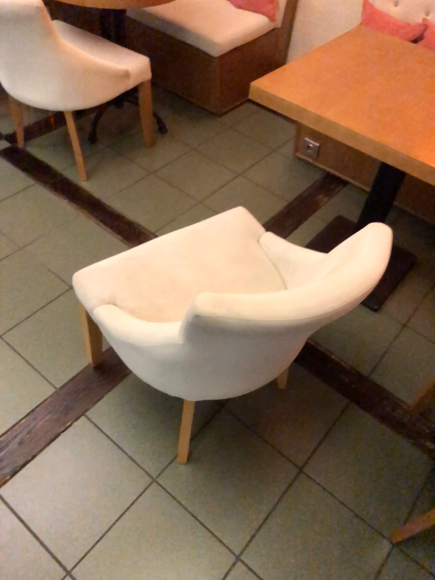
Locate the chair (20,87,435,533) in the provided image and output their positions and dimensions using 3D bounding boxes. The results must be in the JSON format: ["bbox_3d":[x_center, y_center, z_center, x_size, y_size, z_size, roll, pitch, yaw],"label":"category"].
[{"bbox_3d":[0.008,0.039,1.249,0.631,0.736,0.662,-27,57,-26],"label":"chair"}]
